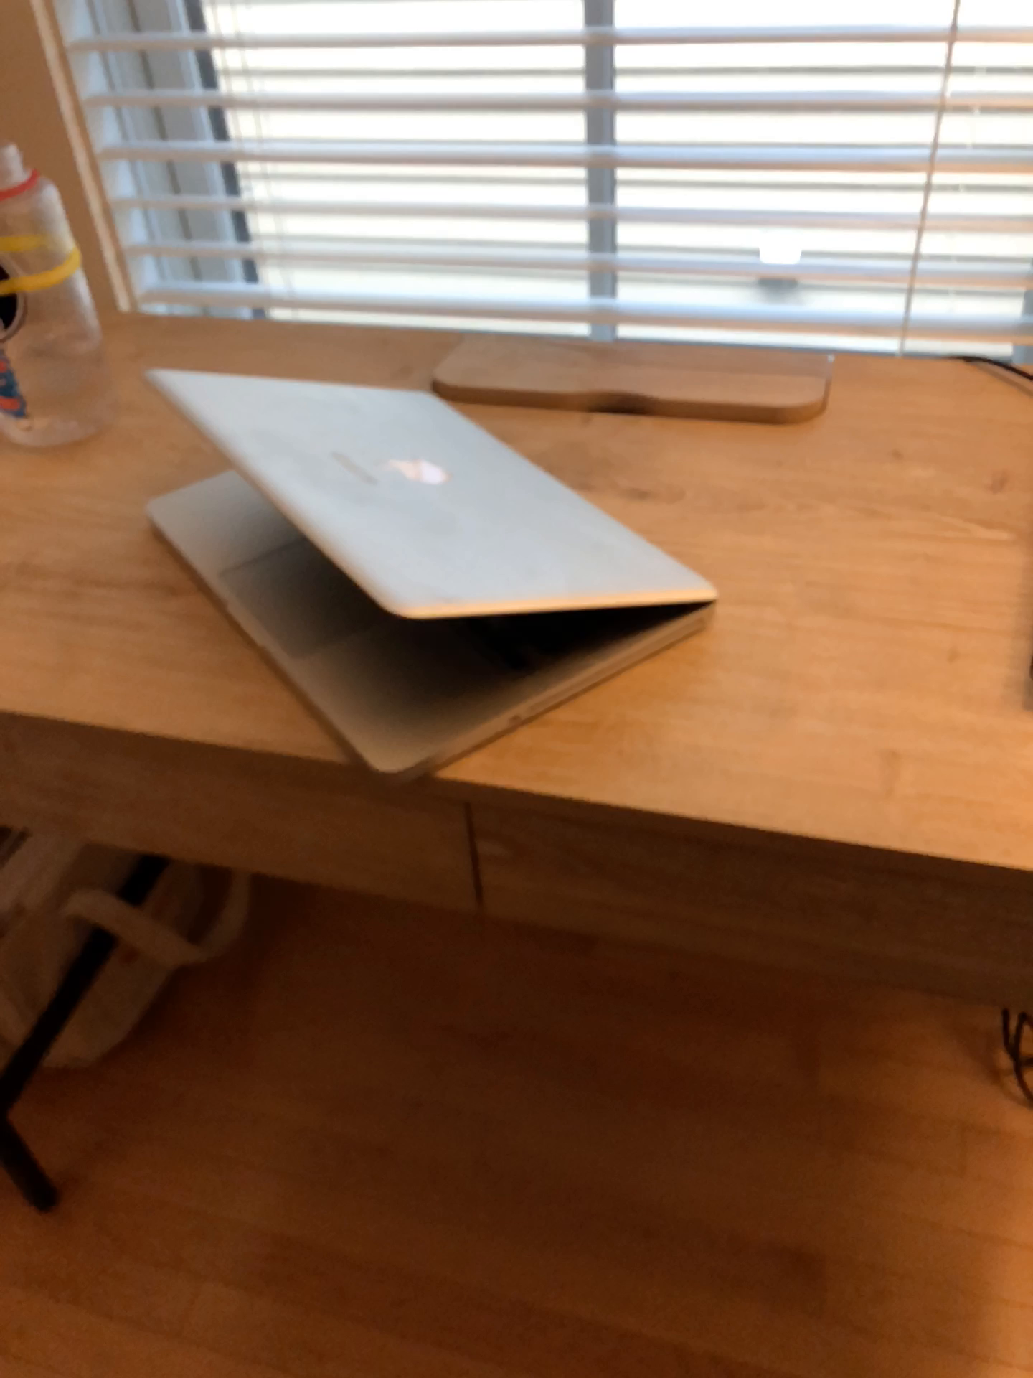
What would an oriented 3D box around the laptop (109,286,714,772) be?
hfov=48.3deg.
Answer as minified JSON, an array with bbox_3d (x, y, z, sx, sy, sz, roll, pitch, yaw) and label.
[{"bbox_3d":[-0.069,-0.114,0.655,0.209,0.082,0.301,-27,46,-23],"label":"laptop"}]
